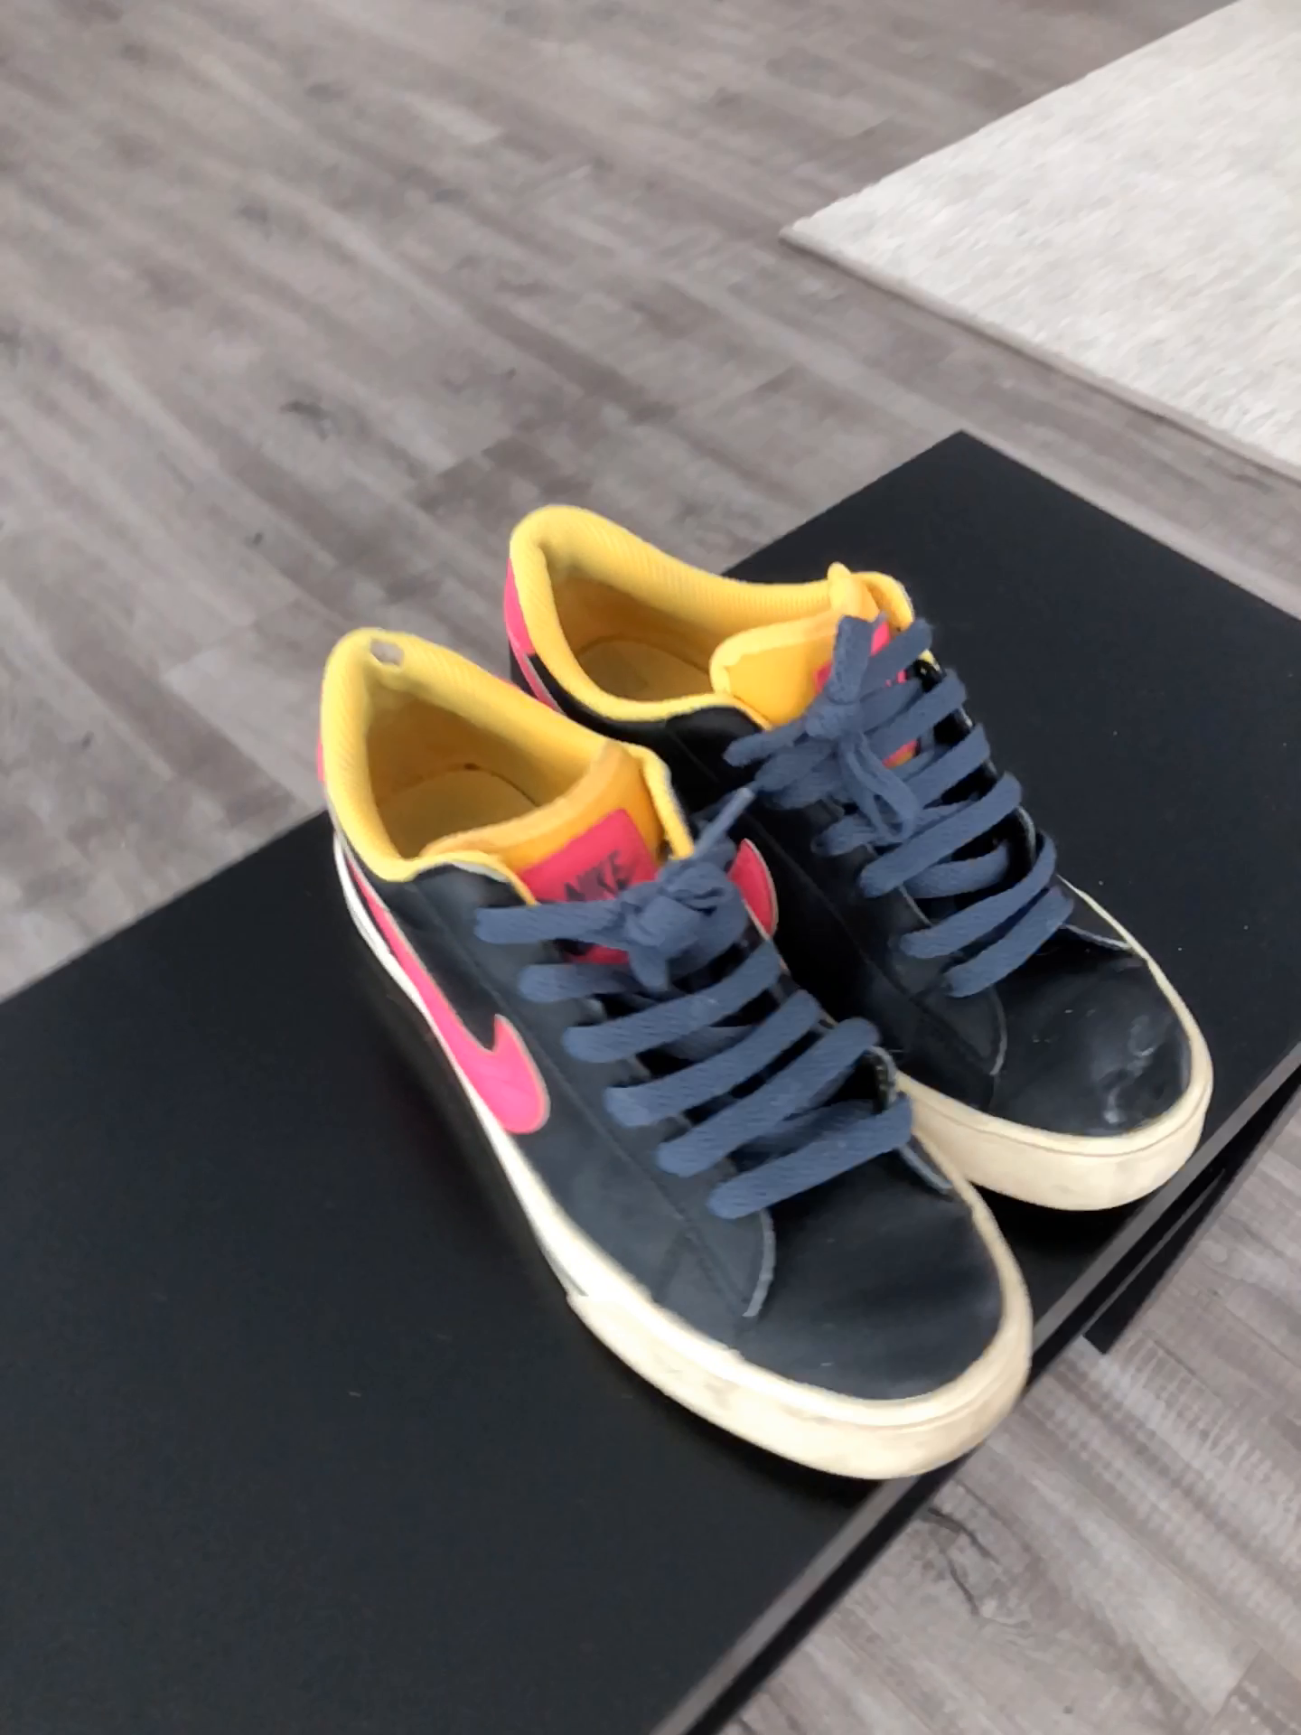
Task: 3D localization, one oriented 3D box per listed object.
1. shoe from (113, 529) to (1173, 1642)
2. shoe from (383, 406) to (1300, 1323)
[{"bbox_3d":[-0.016,0.038,0.347,0.095,0.100,0.245,-33,58,-22],"label":"shoe"},{"bbox_3d":[0.048,-0.012,0.385,0.245,0.100,0.090,38,62,26],"label":"shoe"}]
